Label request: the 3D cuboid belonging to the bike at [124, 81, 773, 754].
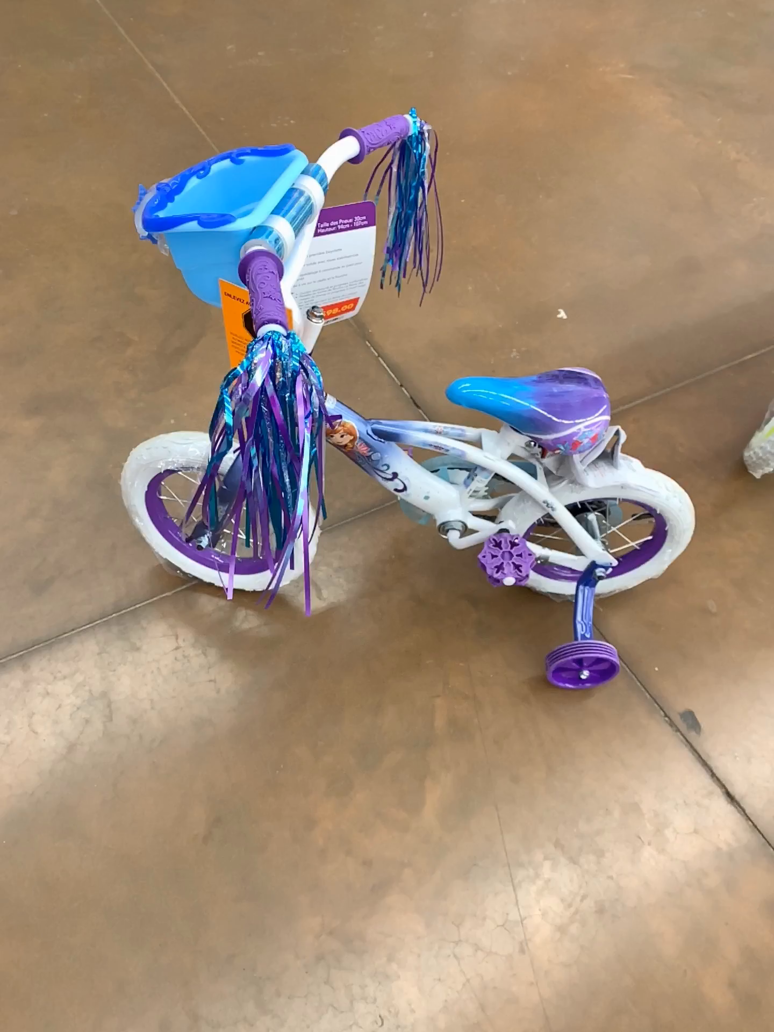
[{"bbox_3d":[0.126,-0.078,0.978,0.651,0.643,0.474,0,53,-6],"label":"bike"}]
